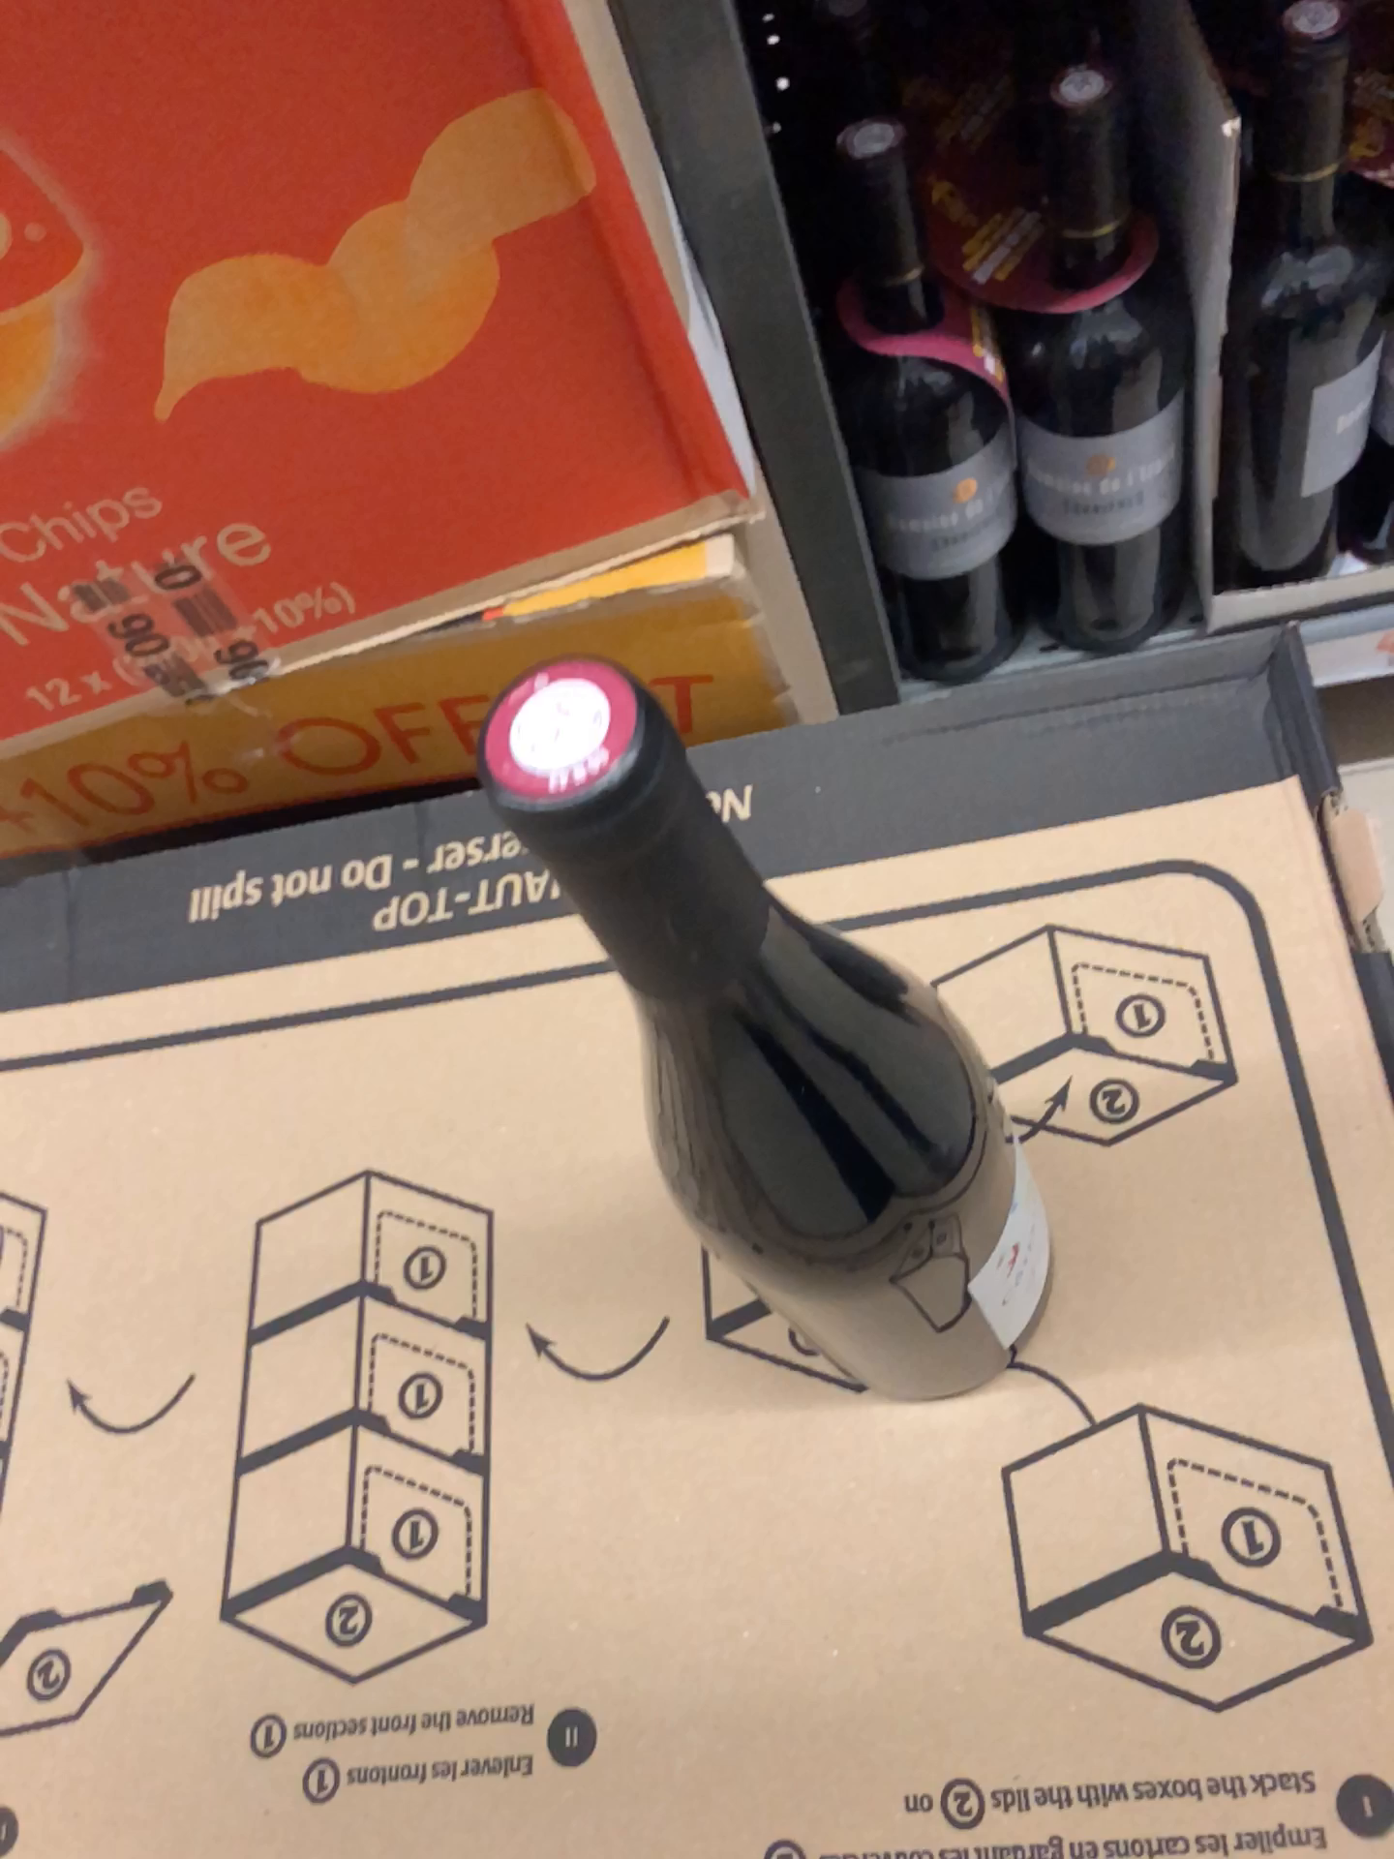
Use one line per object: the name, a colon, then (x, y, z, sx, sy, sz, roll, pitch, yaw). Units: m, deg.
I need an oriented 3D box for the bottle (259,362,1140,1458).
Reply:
bottle: (0.026, 0.034, 0.330, 0.090, 0.289, 0.100, -16, 61, 12)
